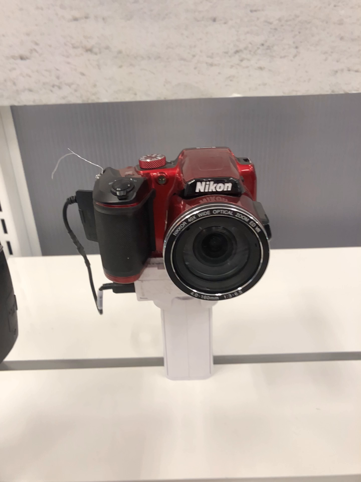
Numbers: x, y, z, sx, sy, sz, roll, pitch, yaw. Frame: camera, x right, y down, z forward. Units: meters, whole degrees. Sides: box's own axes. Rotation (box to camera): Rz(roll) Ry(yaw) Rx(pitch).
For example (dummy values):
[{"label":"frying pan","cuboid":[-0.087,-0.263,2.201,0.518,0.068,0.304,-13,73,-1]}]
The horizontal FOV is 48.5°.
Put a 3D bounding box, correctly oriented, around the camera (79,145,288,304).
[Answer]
[{"label":"camera","cuboid":[0.003,-0.015,0.265,0.110,0.073,0.084,-2,26,1]}]
